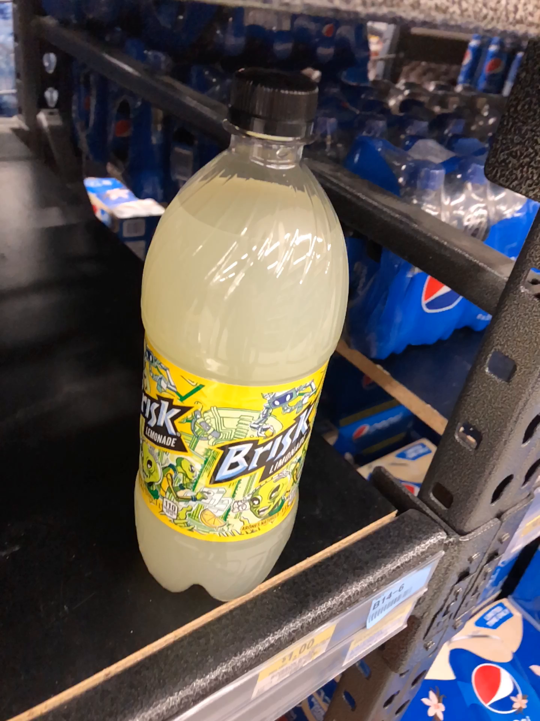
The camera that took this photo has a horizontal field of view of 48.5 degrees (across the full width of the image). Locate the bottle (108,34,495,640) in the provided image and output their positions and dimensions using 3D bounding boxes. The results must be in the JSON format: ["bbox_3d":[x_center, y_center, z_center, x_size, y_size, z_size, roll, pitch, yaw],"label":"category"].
[{"bbox_3d":[-0.008,-0.001,0.261,0.090,0.228,0.090,8,34,-5],"label":"bottle"}]
